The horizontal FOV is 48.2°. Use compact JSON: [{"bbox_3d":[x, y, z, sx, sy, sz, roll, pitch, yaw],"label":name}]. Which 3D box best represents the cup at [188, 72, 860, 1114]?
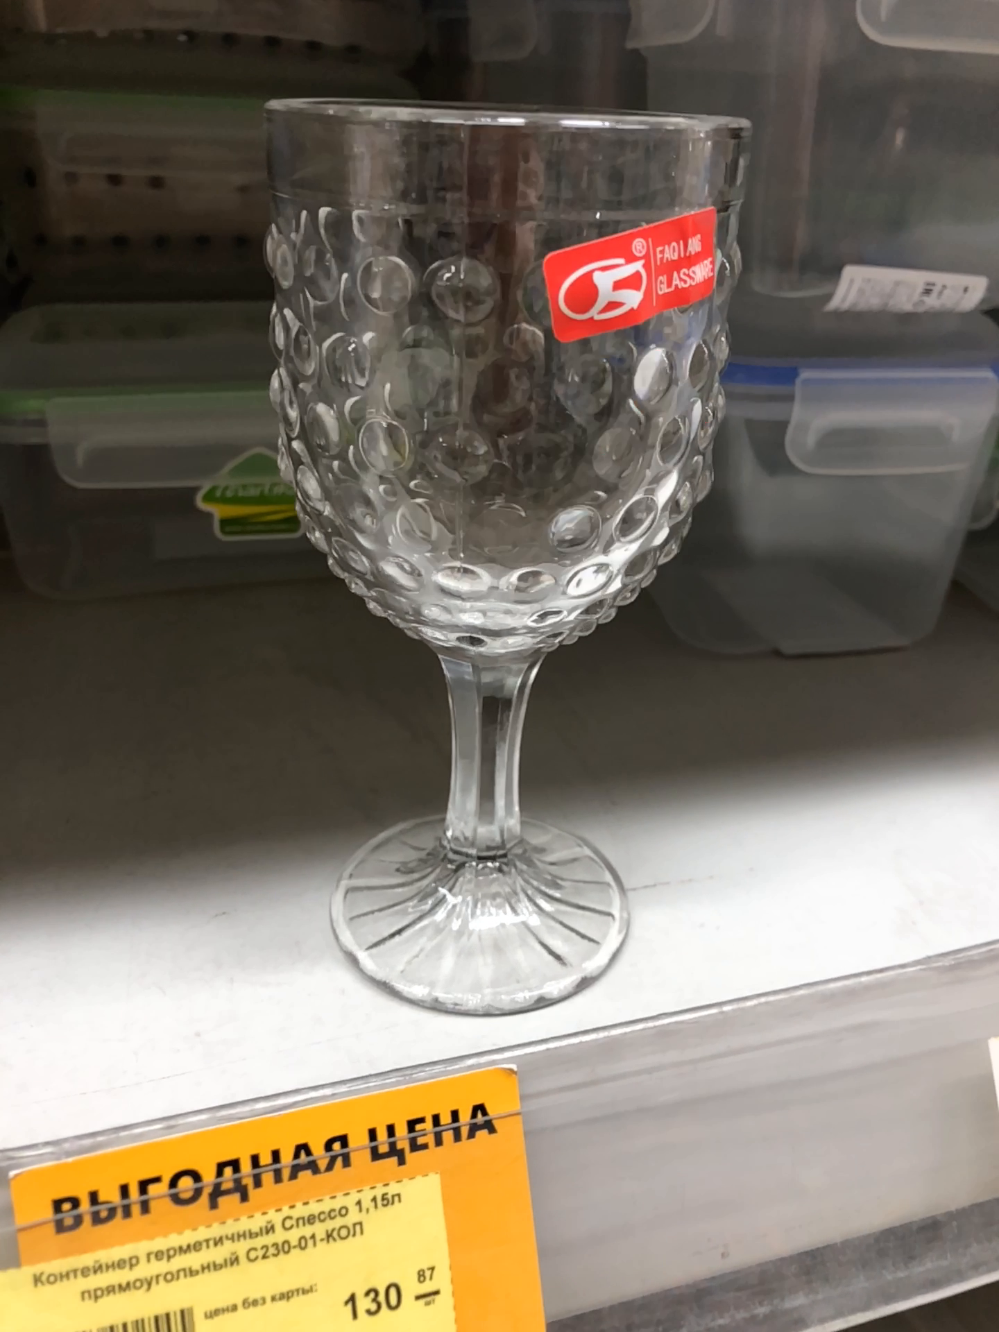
[{"bbox_3d":[-0.006,-0.017,0.209,0.081,0.160,0.087,2,25,-1],"label":"cup"}]
